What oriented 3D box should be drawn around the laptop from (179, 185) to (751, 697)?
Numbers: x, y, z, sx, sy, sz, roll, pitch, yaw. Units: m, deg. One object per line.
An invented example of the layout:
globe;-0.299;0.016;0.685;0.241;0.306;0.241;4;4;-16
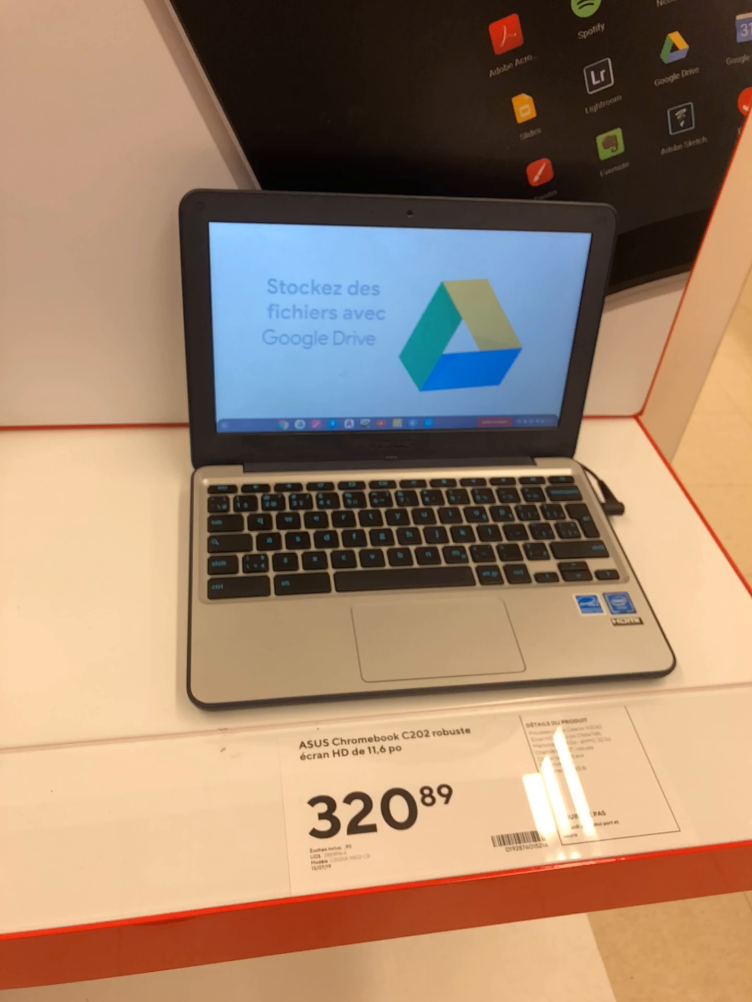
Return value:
laptop;0.030;-0.046;0.498;0.274;0.174;0.231;-2;44;-11
